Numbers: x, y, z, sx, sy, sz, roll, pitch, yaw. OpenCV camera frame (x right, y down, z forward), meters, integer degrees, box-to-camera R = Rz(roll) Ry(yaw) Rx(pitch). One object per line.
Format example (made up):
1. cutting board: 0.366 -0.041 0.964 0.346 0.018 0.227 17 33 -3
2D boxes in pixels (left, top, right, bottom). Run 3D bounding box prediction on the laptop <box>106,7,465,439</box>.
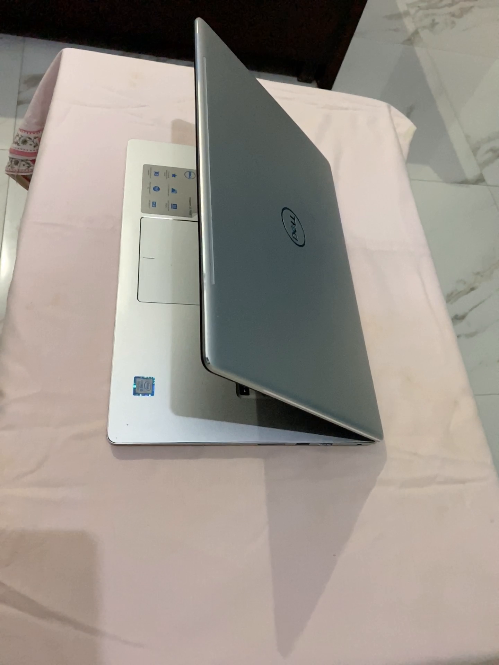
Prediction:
1. laptop: 0.002 -0.096 0.463 0.234 0.149 0.348 2 61 -14
